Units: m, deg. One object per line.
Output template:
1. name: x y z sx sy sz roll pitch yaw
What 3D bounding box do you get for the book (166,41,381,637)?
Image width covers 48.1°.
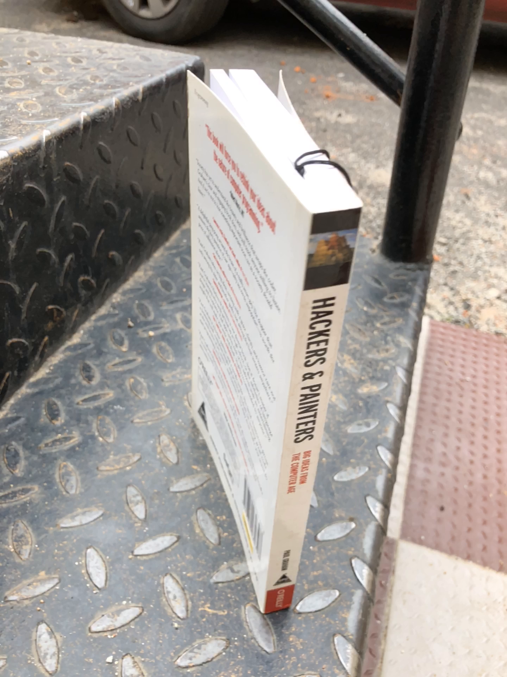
1. book: -0.008 0.003 0.267 0.030 0.219 0.171 -8 42 -12
